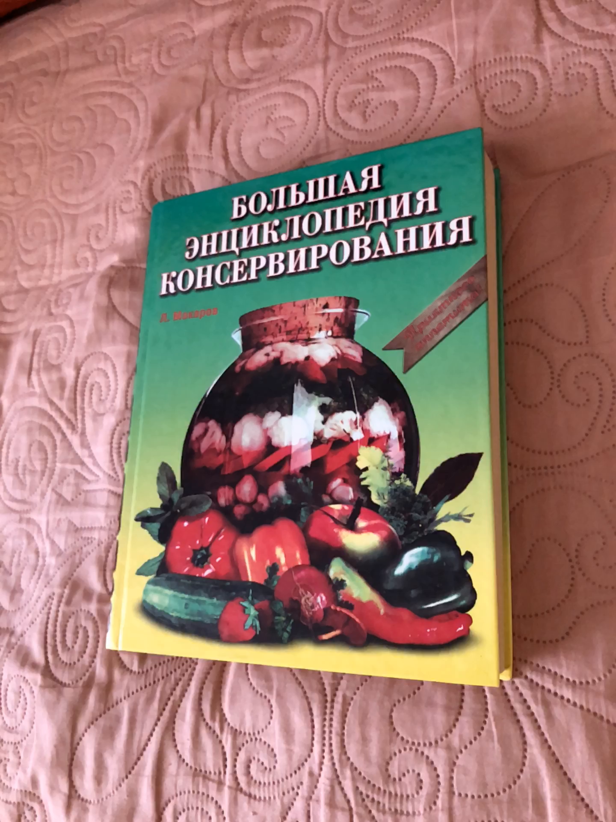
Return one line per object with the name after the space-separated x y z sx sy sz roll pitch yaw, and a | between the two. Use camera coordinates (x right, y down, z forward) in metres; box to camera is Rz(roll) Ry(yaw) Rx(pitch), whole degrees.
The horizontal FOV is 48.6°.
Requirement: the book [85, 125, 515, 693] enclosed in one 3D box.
-0.005 -0.002 0.380 0.216 0.050 0.273 -5 73 24 | book
